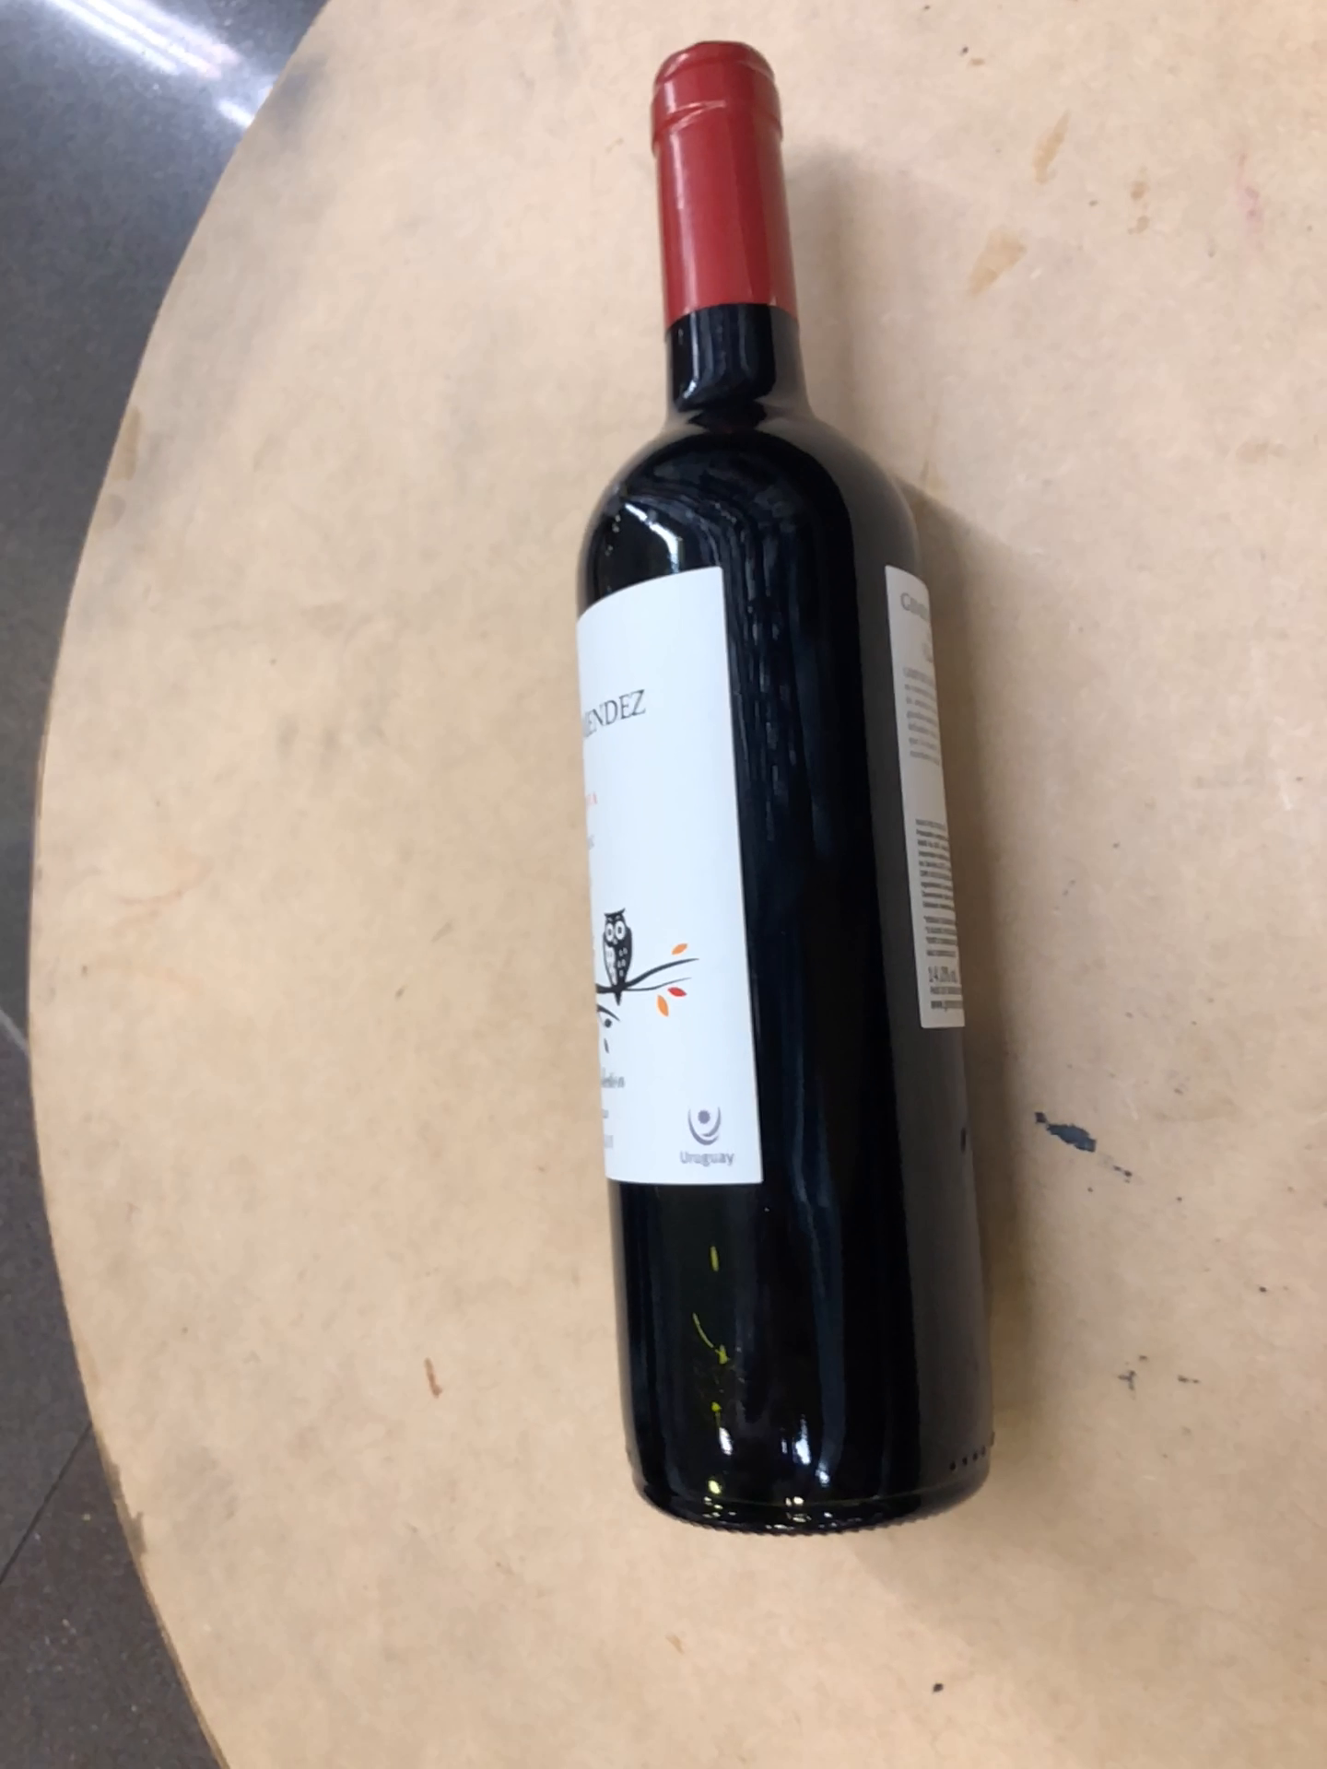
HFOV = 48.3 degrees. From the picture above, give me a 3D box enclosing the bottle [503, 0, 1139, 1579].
[{"bbox_3d":[0.028,-0.041,0.290,0.080,0.060,0.310,-8,82,32],"label":"bottle"}]
